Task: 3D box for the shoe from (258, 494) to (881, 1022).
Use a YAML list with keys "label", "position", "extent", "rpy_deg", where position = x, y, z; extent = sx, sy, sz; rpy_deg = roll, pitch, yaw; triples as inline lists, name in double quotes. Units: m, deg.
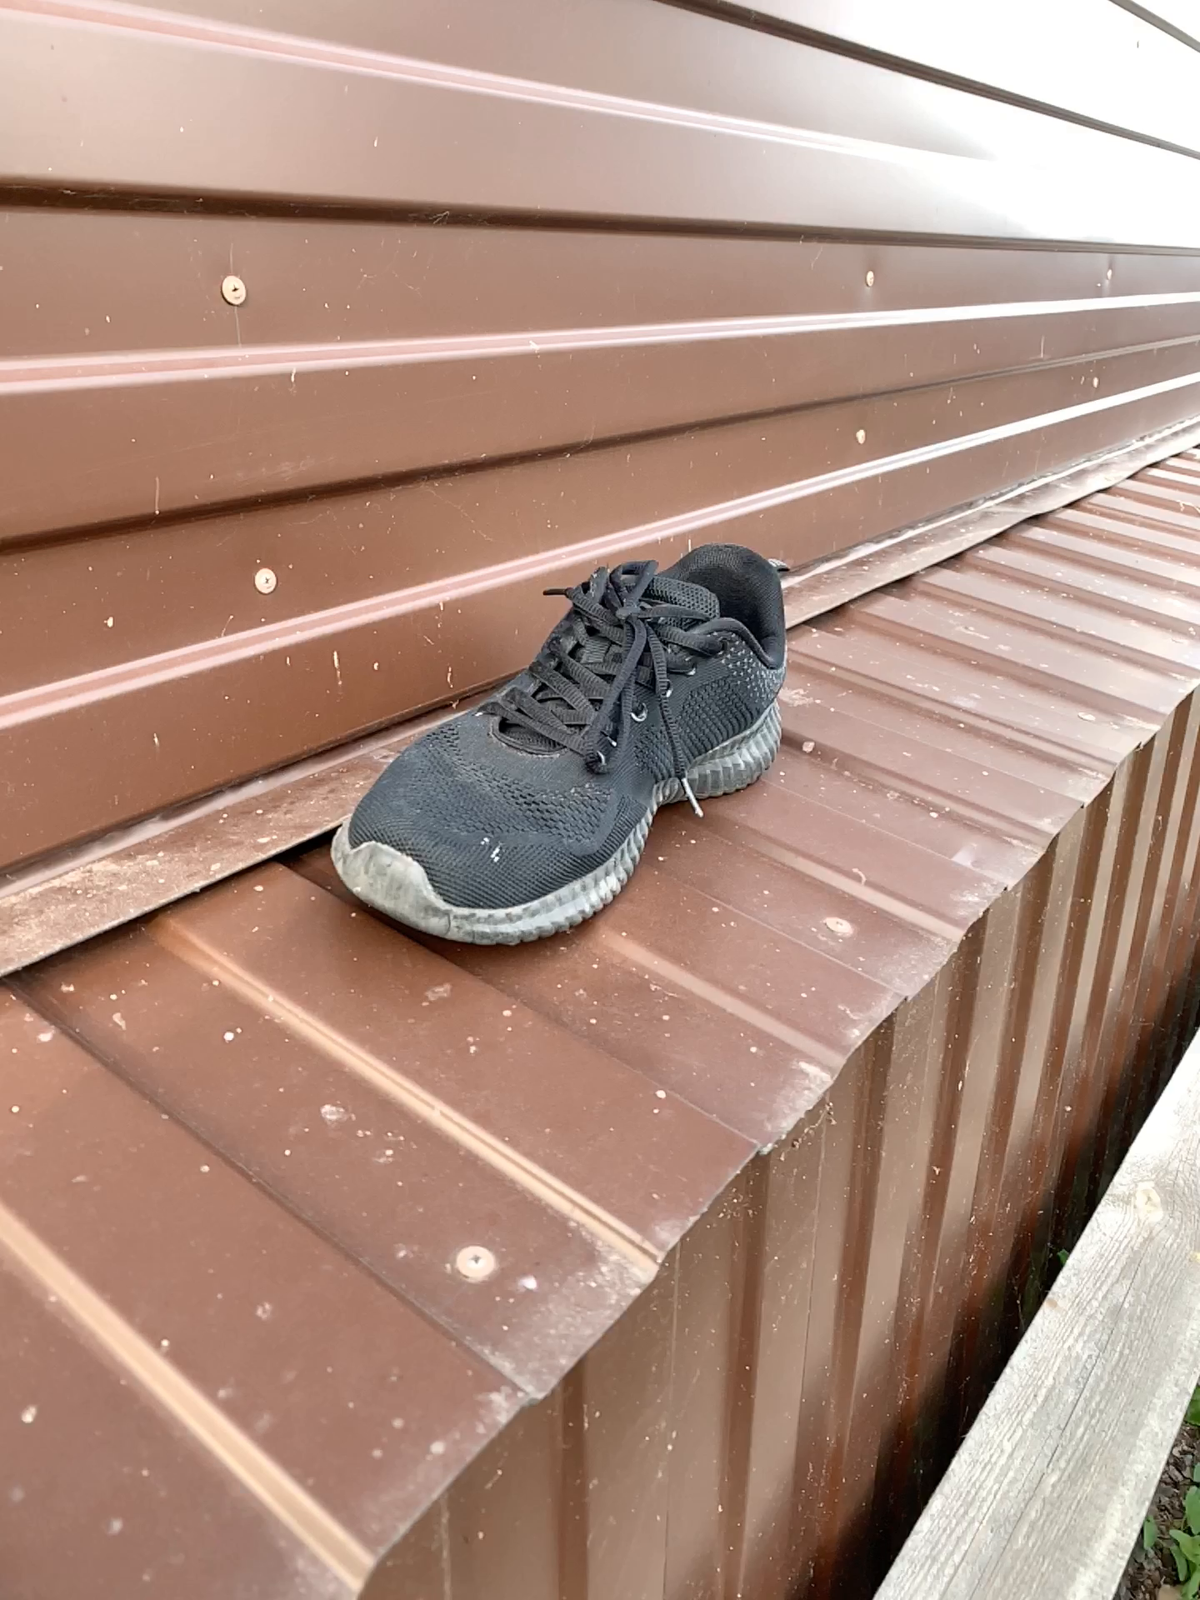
- label: "shoe"
  position: [0.003, -0.044, 0.555]
  extent: [0.120, 0.119, 0.302]
  rpy_deg: [24, 30, 24]
